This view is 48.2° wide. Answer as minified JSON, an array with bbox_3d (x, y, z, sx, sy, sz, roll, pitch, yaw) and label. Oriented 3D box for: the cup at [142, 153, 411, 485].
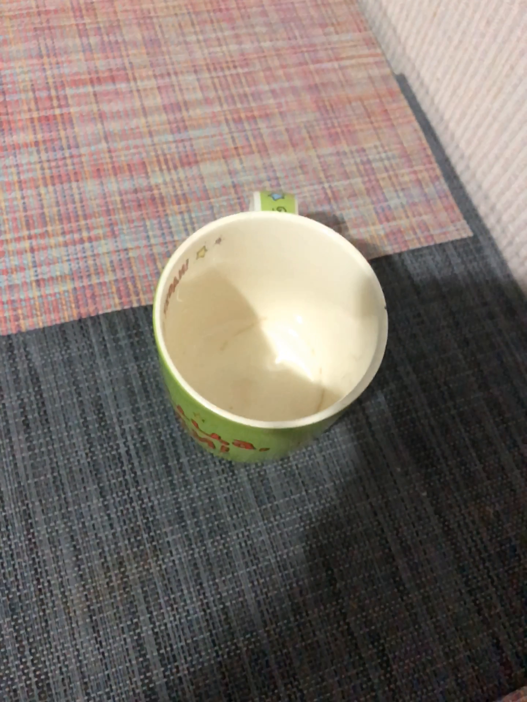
[{"bbox_3d":[0.000,-0.008,0.254,0.089,0.084,0.115,2,67,-7],"label":"cup"}]
